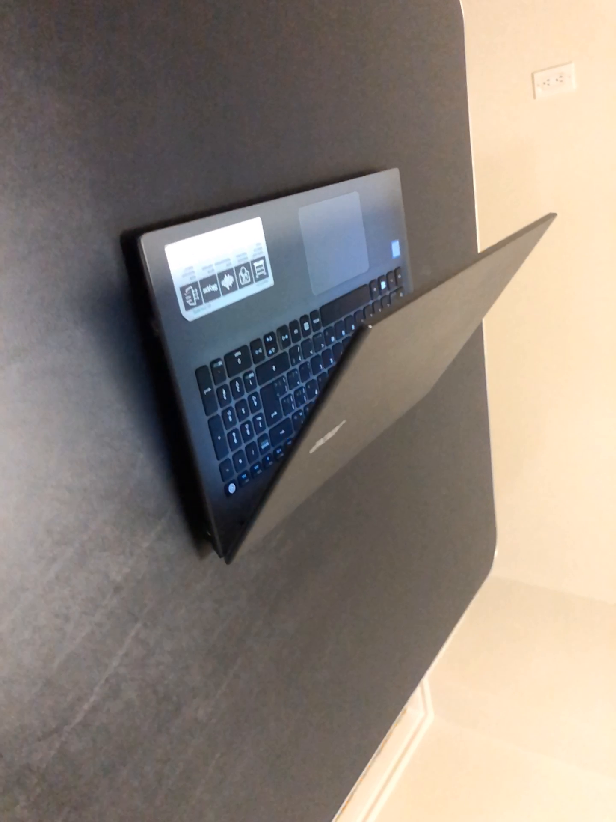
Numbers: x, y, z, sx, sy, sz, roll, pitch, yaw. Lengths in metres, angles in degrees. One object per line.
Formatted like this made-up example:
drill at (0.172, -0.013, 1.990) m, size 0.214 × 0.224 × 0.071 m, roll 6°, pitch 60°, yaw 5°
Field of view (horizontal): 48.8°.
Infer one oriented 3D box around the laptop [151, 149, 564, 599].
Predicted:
laptop at (0.085, -0.066, 0.588) m, size 0.370 × 0.155 × 0.251 m, roll -35°, pitch 122°, yaw -48°
